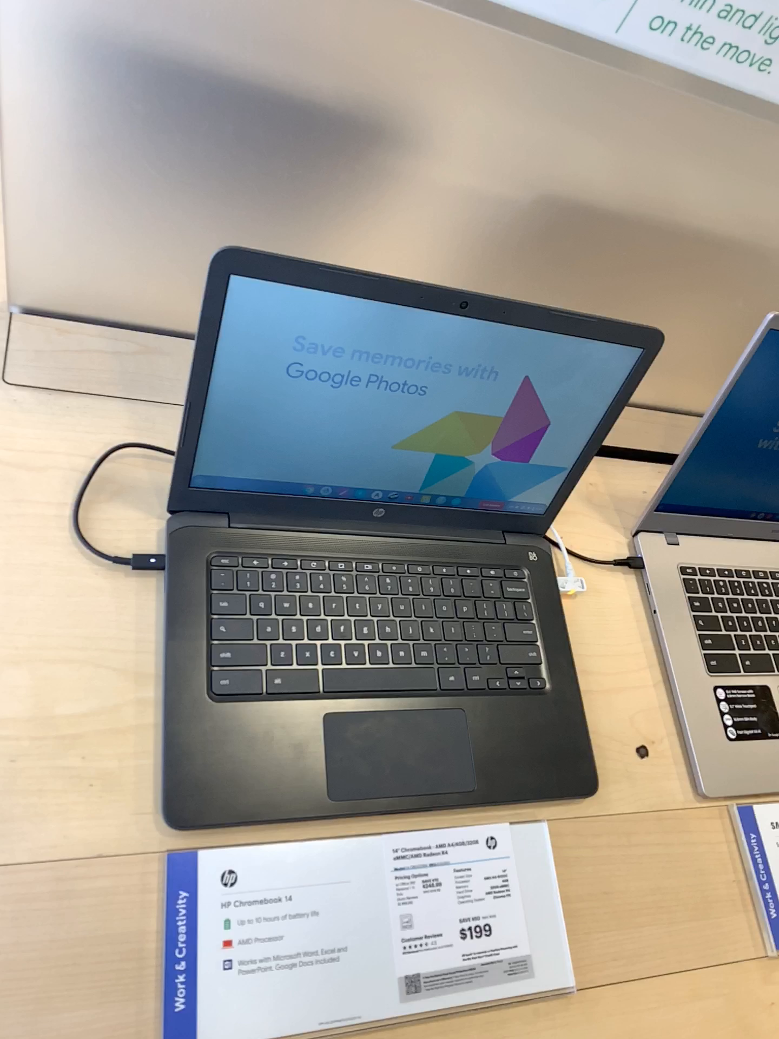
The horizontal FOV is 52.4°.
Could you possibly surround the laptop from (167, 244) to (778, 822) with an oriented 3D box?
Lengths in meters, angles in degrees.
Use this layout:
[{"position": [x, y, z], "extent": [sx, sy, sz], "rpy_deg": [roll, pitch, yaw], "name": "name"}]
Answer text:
[{"position": [0.031, 0.024, 0.536], "extent": [0.320, 0.199, 0.292], "rpy_deg": [4, 63, -21], "name": "laptop"}]
